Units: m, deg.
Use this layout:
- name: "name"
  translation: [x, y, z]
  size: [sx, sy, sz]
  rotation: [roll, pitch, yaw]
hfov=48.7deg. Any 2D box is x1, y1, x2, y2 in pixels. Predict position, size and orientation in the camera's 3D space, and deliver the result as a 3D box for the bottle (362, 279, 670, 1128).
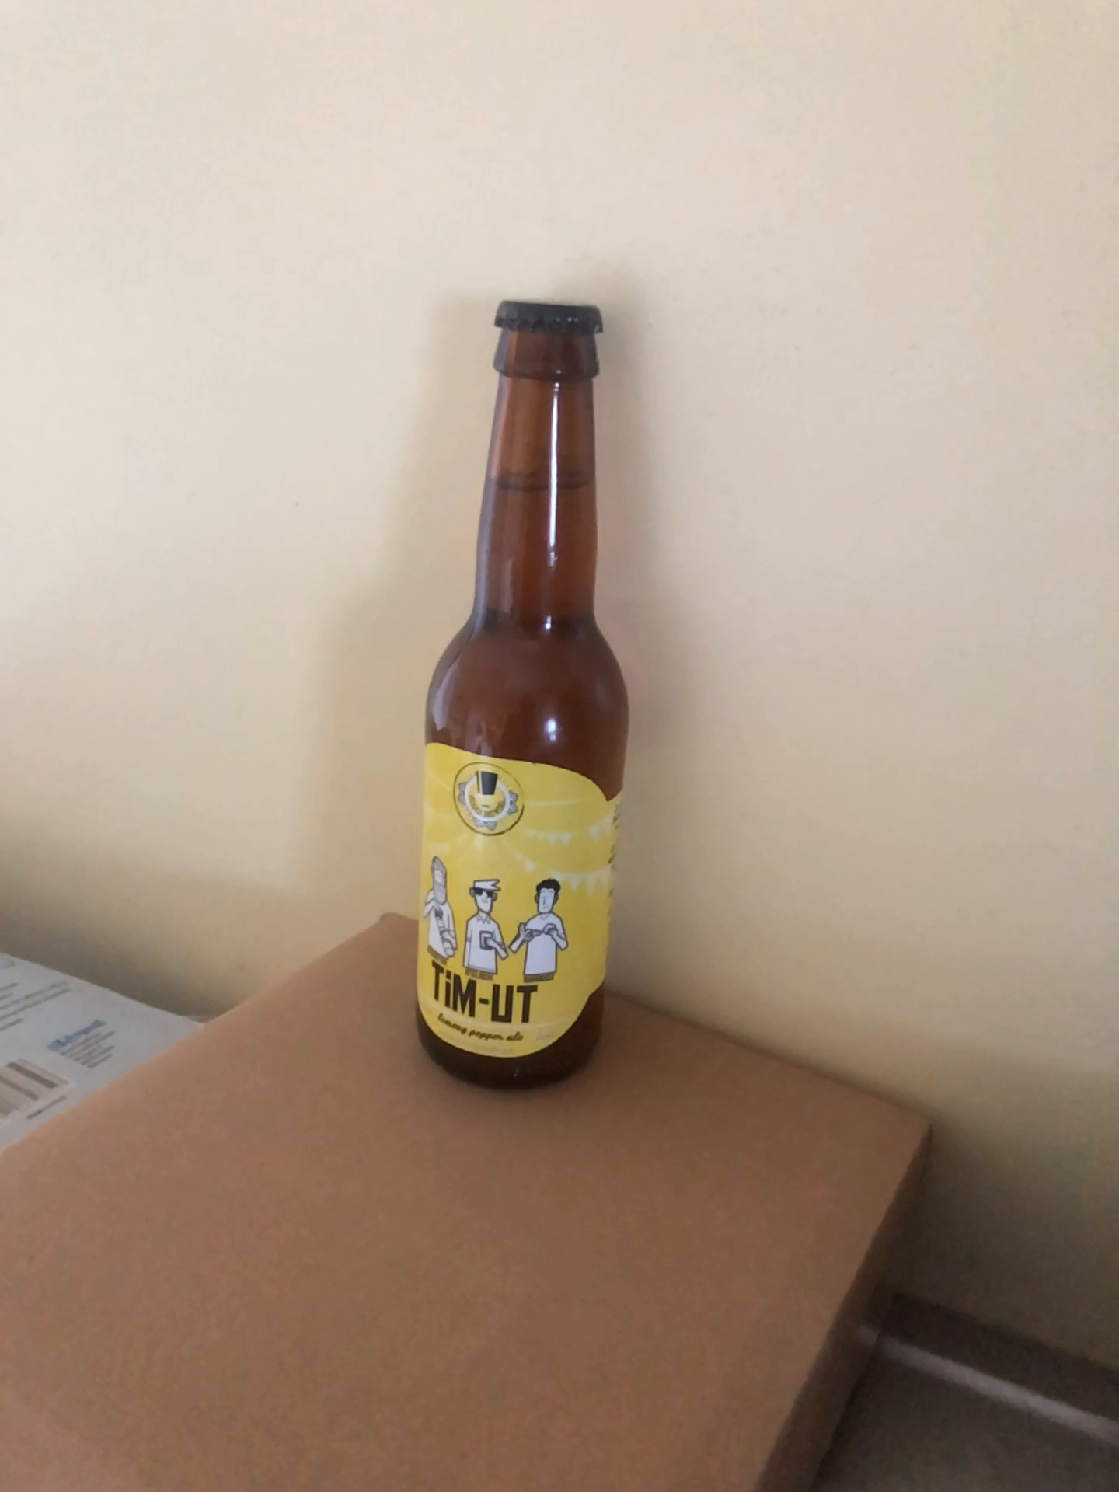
- name: "bottle"
  translation: [-0.015, -0.011, 0.359]
  size: [0.060, 0.229, 0.060]
  rotation: [2, 19, -1]
